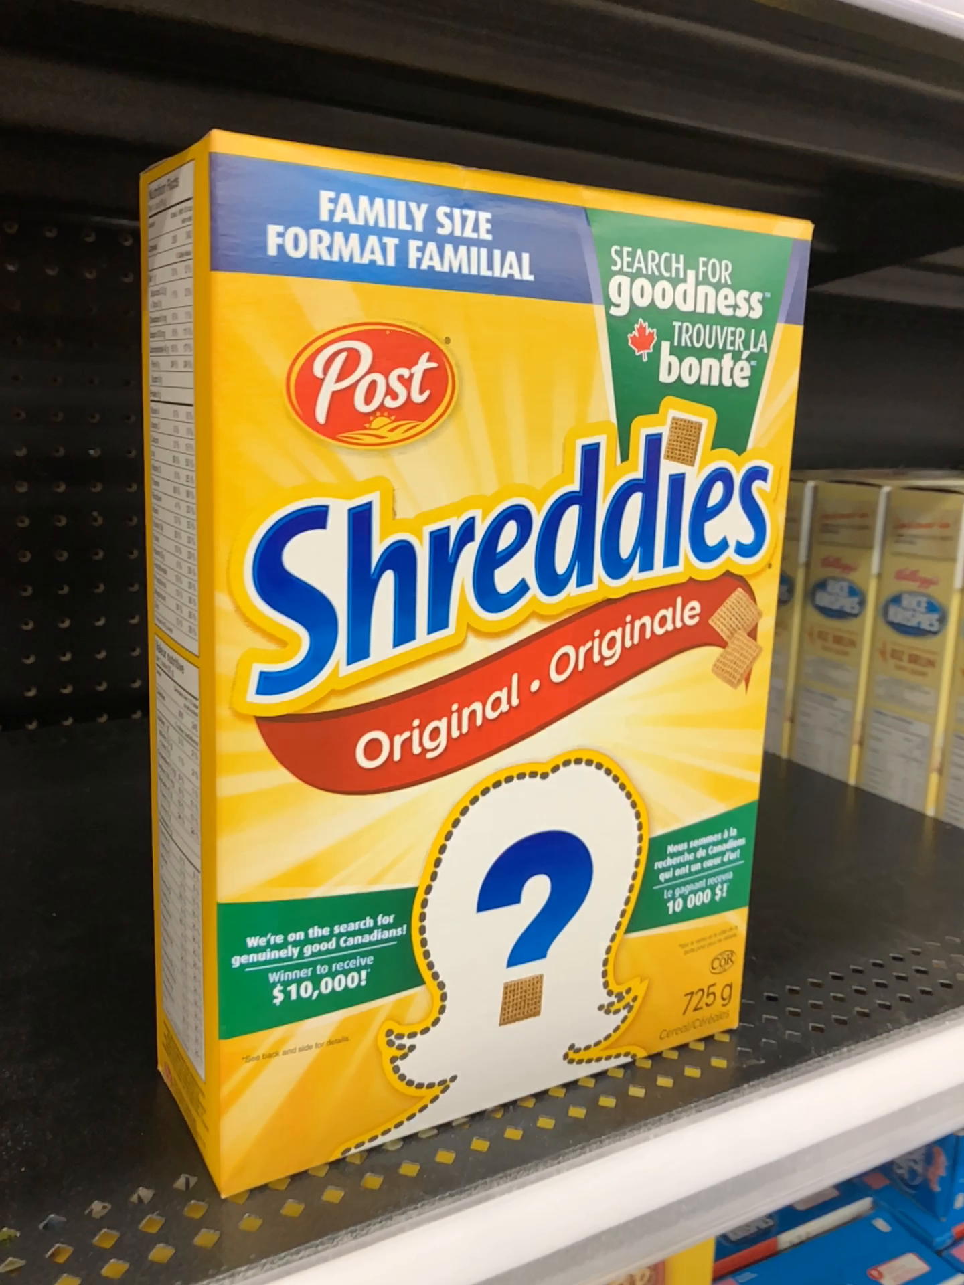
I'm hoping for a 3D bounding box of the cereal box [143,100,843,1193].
[{"bbox_3d":[0.005,0.000,0.358,0.210,0.289,0.070,-4,13,-30],"label":"cereal box"}]
